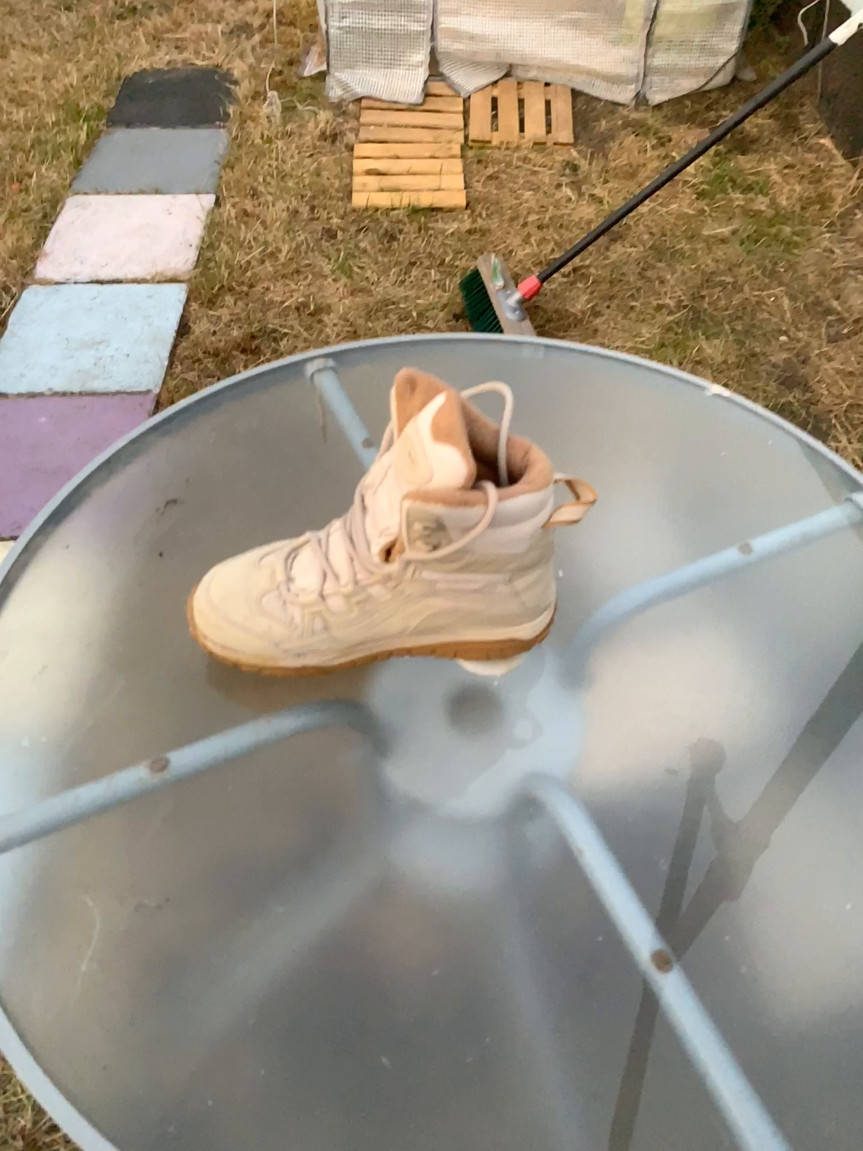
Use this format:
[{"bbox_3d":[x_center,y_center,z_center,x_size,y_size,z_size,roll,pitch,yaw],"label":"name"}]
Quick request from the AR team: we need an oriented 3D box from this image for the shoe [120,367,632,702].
[{"bbox_3d":[-0.032,-0.021,0.591,0.280,0.198,0.121,-1,50,-2],"label":"shoe"}]
